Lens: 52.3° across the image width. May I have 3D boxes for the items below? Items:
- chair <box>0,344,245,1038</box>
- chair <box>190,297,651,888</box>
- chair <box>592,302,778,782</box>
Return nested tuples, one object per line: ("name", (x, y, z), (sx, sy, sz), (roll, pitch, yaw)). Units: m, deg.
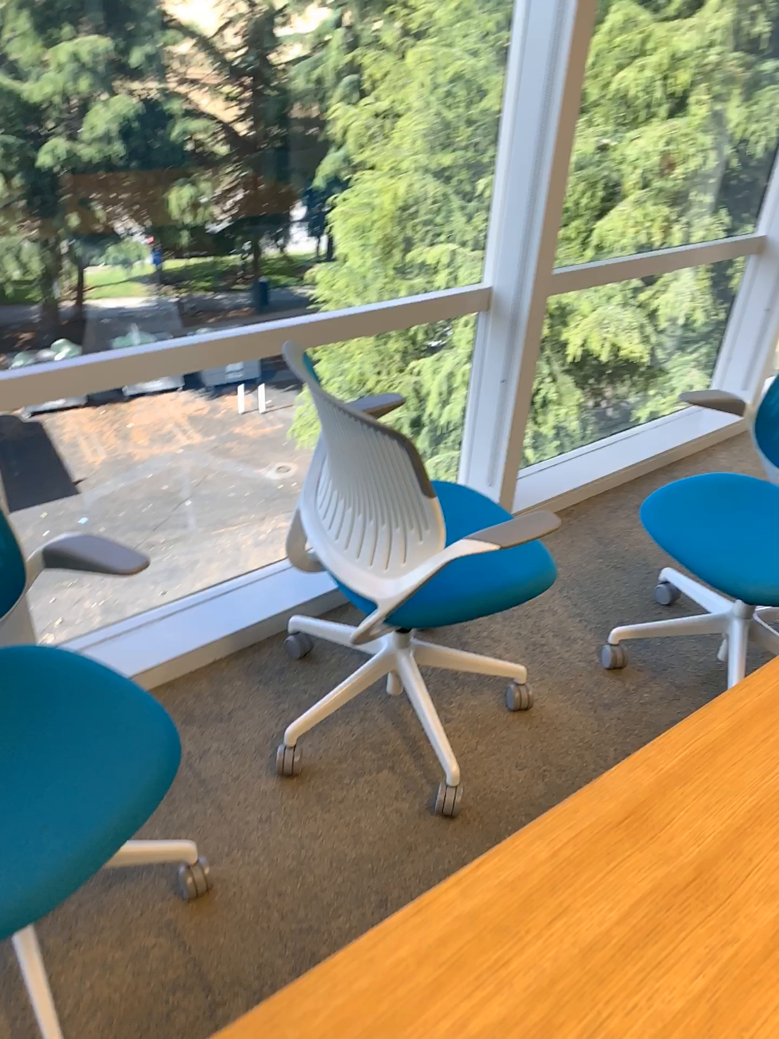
("chair", (-0.883, 0.402, 1.586), (0.872, 1.133, 0.732), (26, 39, 30))
("chair", (0.025, 0.128, 1.837), (0.641, 1.014, 0.653), (-22, 41, -35))
("chair", (1.095, 0.051, 2.220), (0.631, 1.093, 0.543), (-16, 38, -28))
